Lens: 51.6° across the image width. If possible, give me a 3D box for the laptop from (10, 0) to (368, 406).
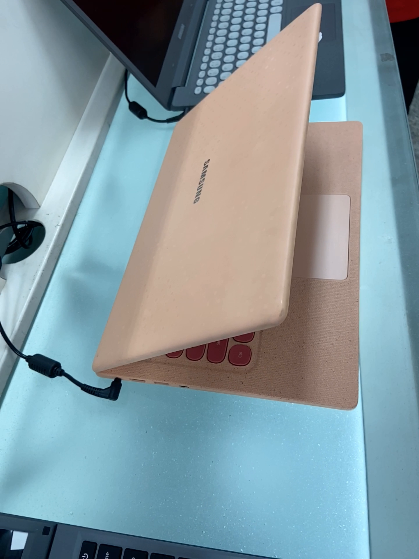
[{"bbox_3d":[0.020,-0.083,0.379,0.210,0.129,0.324,3,58,15],"label":"laptop"}]
